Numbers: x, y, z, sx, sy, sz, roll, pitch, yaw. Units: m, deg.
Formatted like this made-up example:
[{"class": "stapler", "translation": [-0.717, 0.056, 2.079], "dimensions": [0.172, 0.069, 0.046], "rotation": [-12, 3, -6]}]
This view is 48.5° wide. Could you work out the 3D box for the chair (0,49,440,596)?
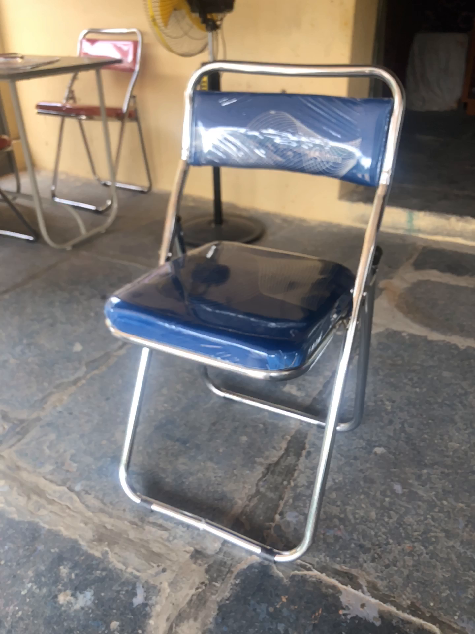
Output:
[{"class": "chair", "translation": [0.018, -0.048, 1.000], "dimensions": [0.500, 0.806, 0.513], "rotation": [13, 31, 23]}]
